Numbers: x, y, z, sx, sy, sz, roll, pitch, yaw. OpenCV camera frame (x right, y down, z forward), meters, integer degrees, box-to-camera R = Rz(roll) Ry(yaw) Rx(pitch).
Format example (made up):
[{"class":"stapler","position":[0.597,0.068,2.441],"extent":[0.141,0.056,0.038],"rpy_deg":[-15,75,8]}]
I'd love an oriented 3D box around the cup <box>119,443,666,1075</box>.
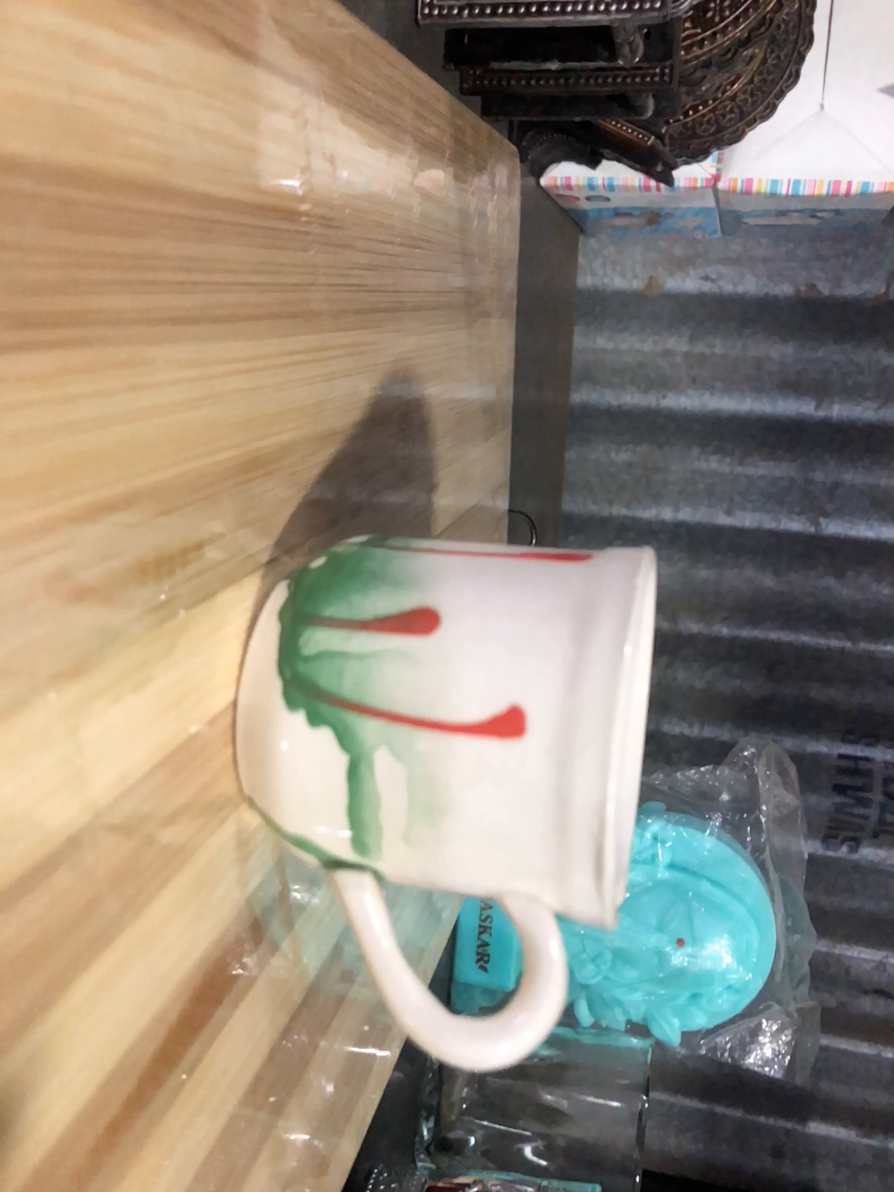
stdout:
[{"class":"cup","position":[0.001,0.033,0.189],"extent":[0.080,0.070,0.090],"rpy_deg":[67,31,-66]}]
